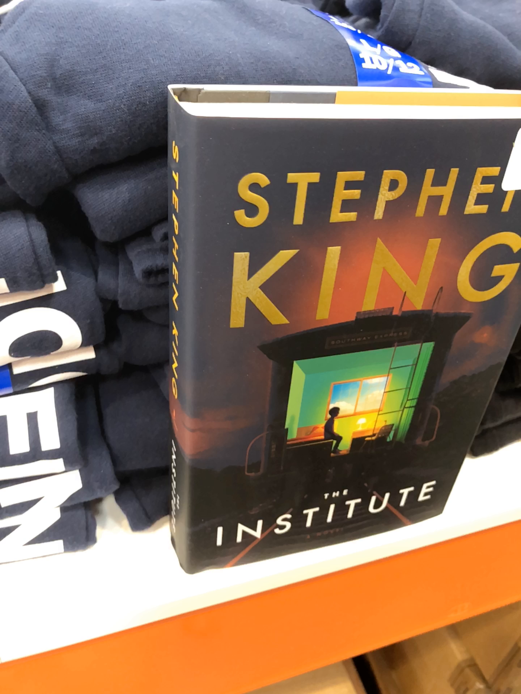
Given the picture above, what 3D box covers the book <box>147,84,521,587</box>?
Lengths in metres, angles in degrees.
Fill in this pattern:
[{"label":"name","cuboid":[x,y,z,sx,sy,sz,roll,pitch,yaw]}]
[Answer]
[{"label":"book","cuboid":[0.038,0.004,0.278,0.167,0.229,0.050,-7,36,-18]}]
